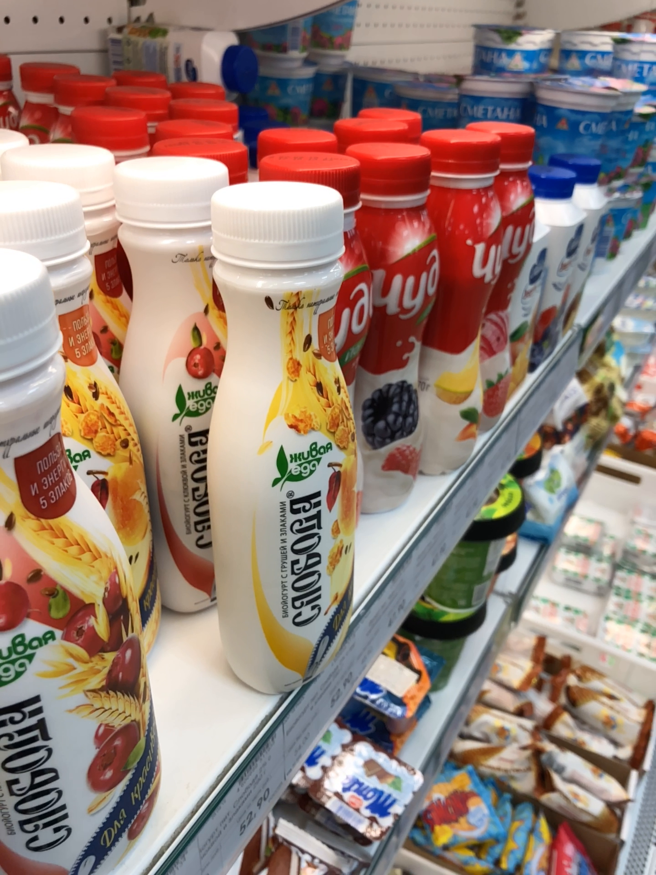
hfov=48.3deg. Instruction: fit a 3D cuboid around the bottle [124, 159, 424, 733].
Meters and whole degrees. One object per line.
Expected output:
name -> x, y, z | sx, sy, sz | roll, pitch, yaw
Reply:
bottle -> -0.019, 0.006, 0.268 | 0.060, 0.189, 0.070 | 21, 35, 27
